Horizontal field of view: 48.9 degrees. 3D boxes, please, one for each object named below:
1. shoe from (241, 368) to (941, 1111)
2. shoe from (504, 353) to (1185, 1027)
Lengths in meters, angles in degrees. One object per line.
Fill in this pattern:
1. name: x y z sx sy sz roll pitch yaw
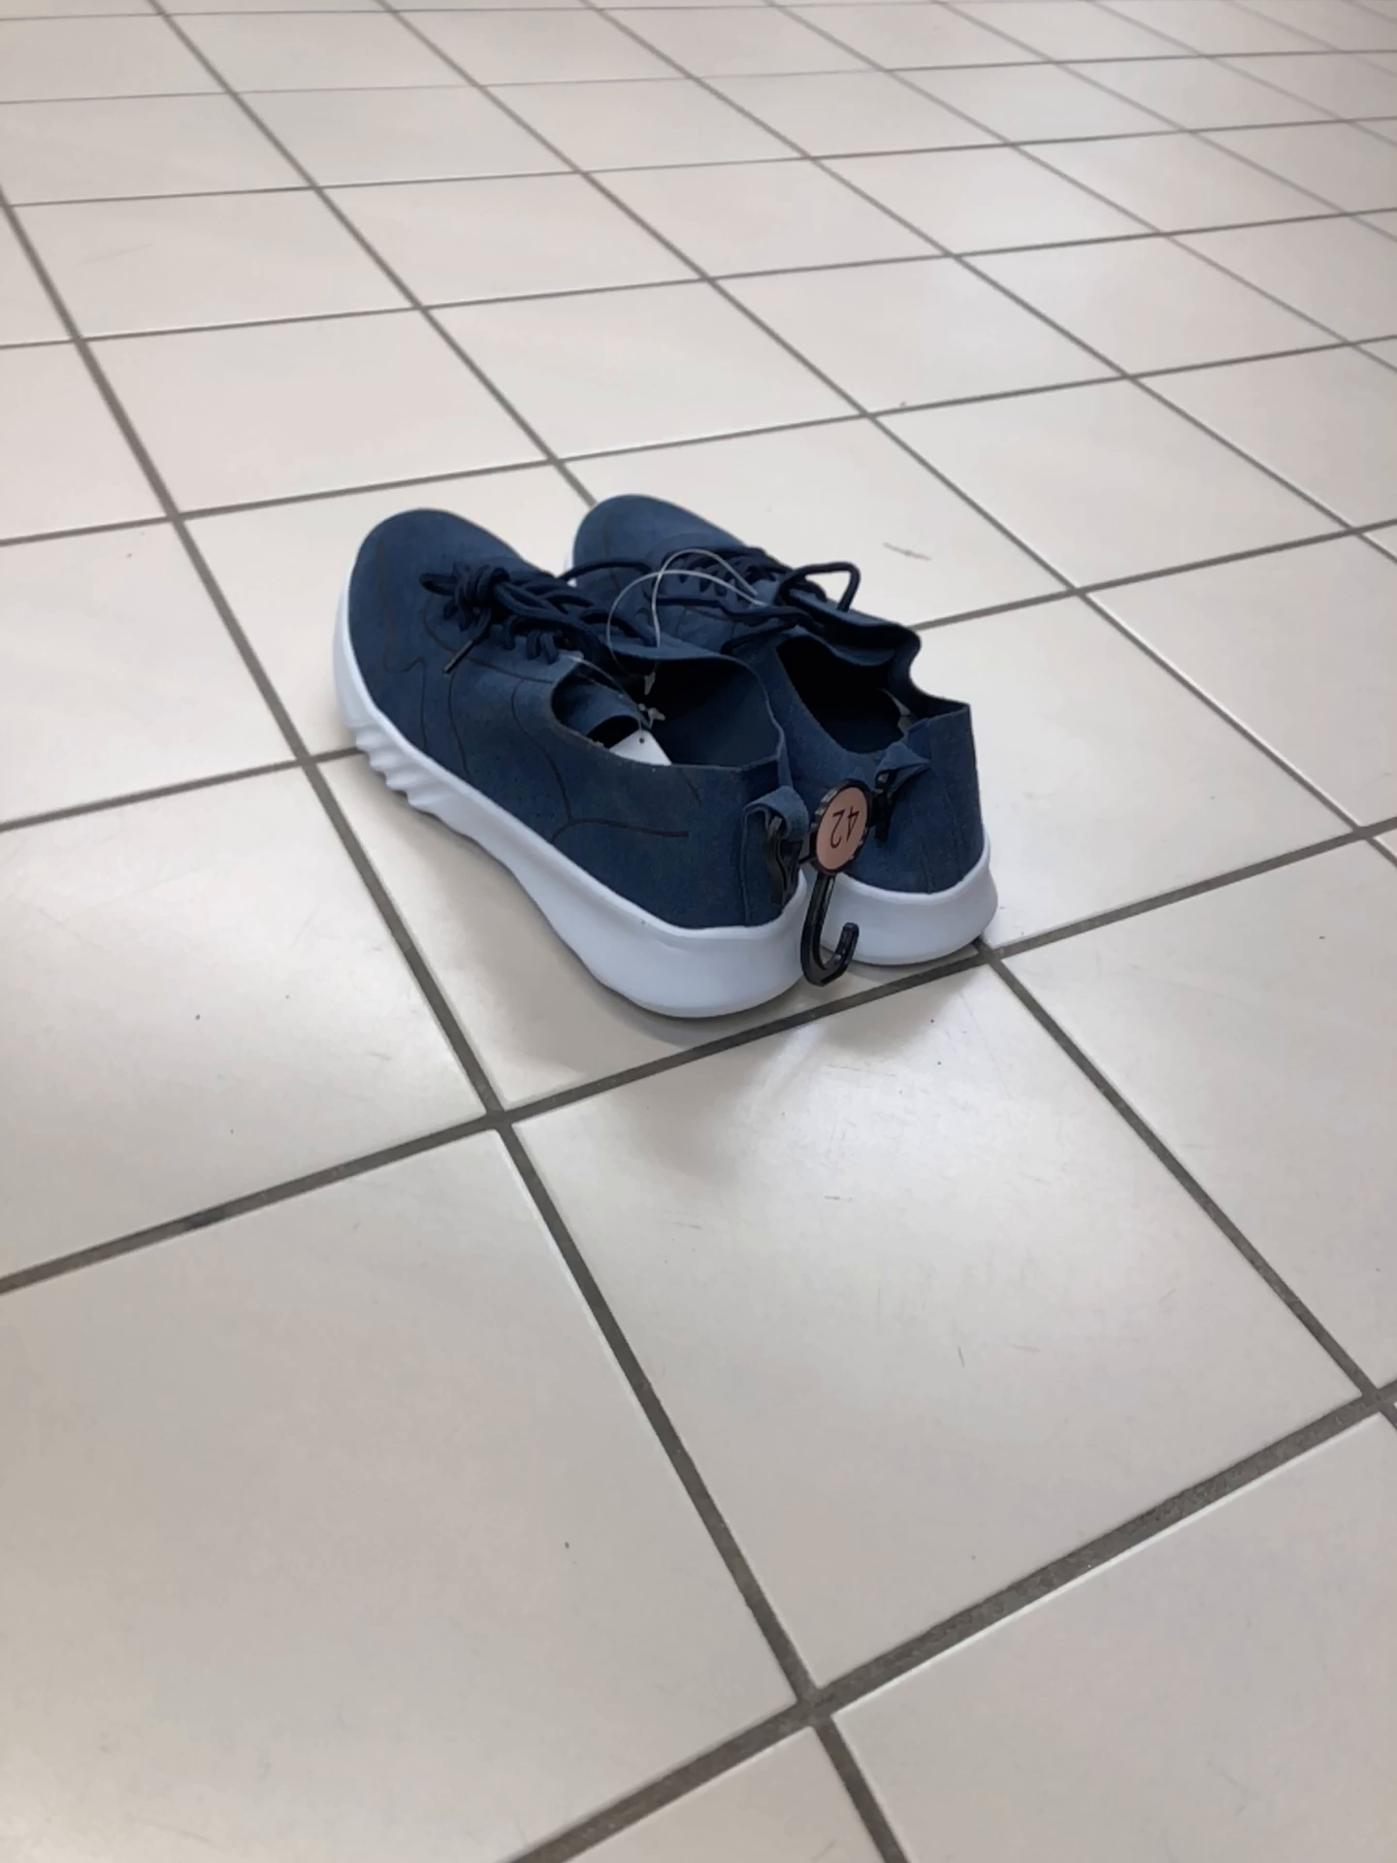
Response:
1. shoe: -0.056 -0.087 0.580 0.100 0.119 0.290 -24 52 -30
2. shoe: 0.037 -0.111 0.614 0.100 0.109 0.290 -21 51 -28
